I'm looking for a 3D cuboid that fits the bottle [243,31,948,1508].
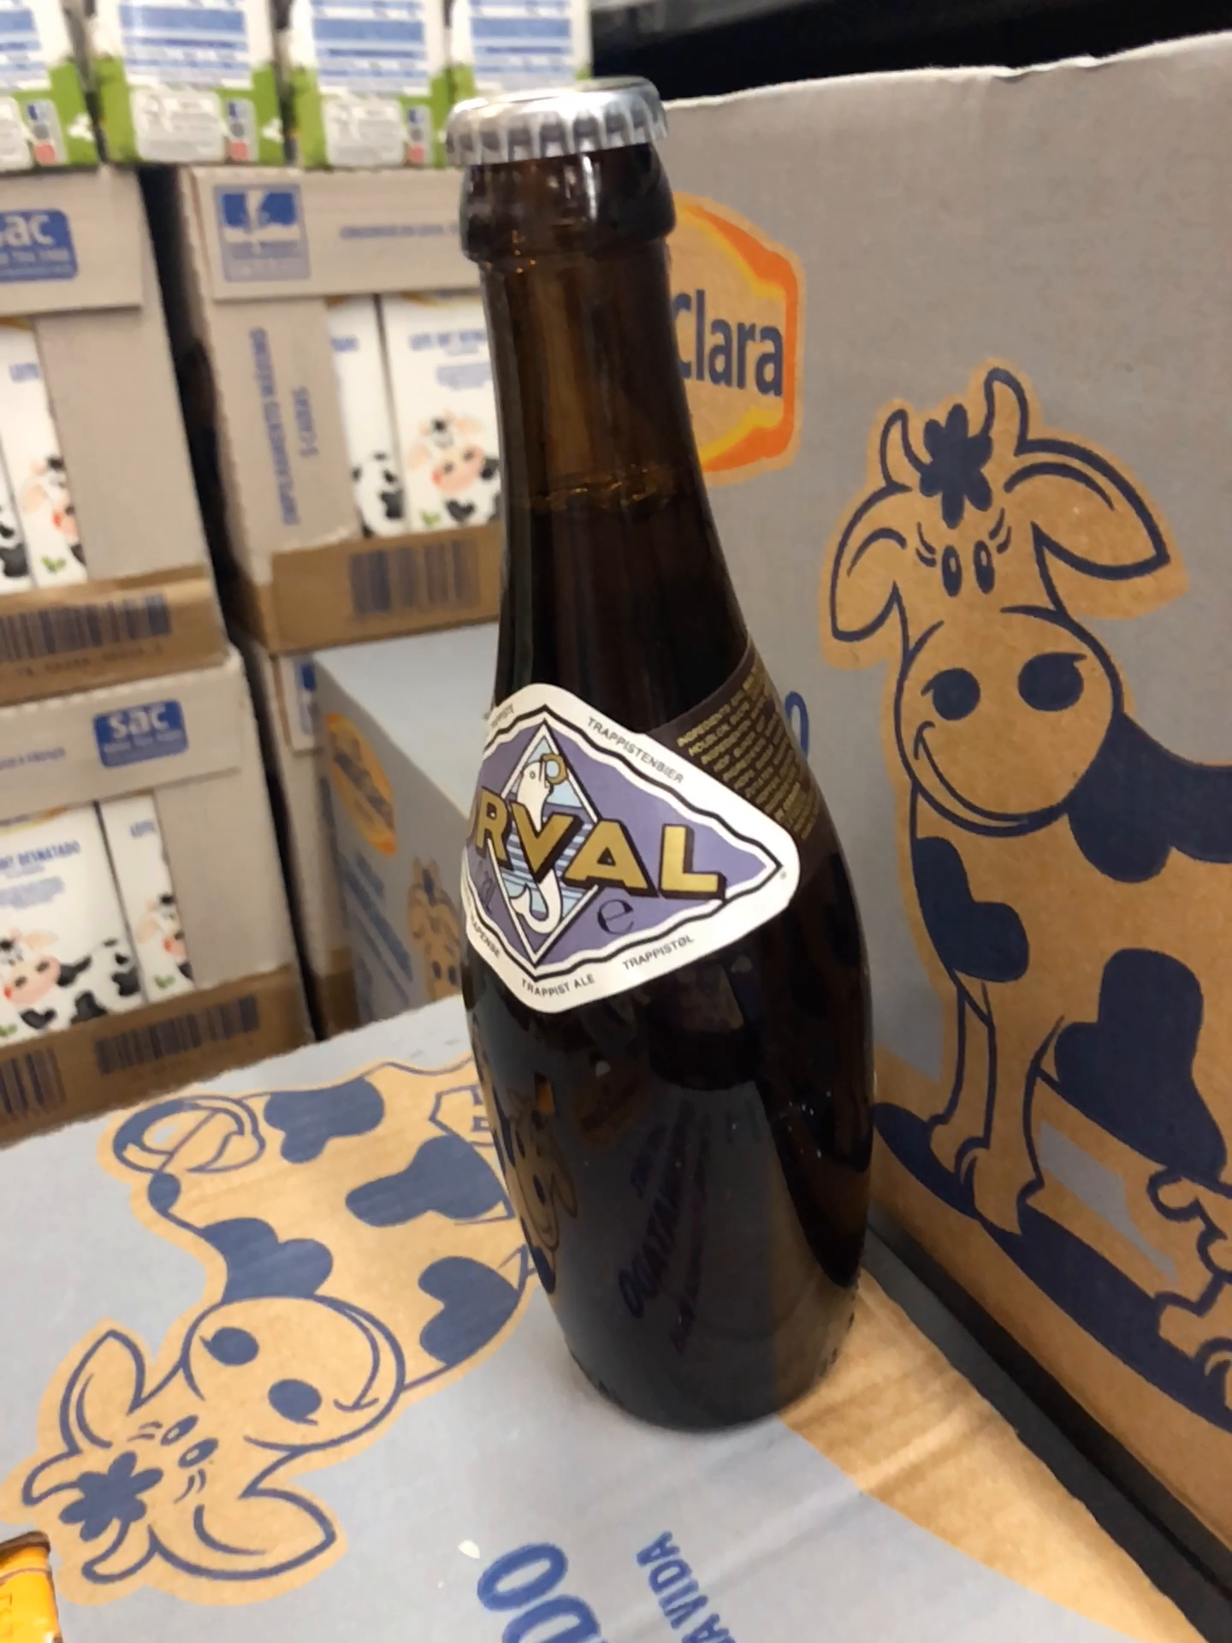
[{"bbox_3d":[0.005,-0.002,0.221,0.070,0.208,0.060,12,29,32],"label":"bottle"}]
